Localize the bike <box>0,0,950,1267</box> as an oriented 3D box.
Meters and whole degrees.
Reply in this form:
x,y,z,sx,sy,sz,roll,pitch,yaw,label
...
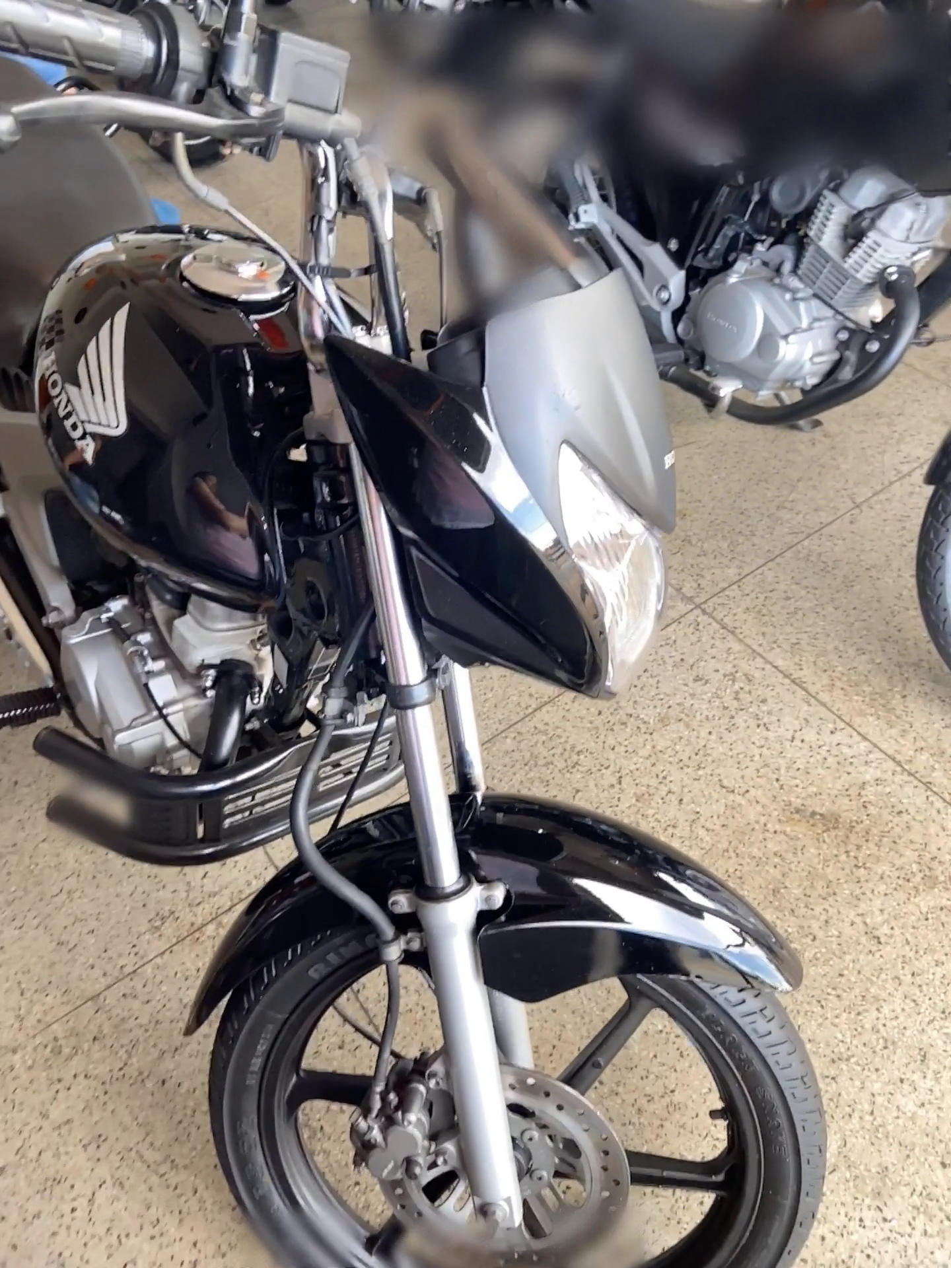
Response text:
x,y,z,sx,sy,sz,roll,pitch,yaw,label
-0.219,-0.201,1.182,0.775,1.138,1.740,-35,56,-23,bike
